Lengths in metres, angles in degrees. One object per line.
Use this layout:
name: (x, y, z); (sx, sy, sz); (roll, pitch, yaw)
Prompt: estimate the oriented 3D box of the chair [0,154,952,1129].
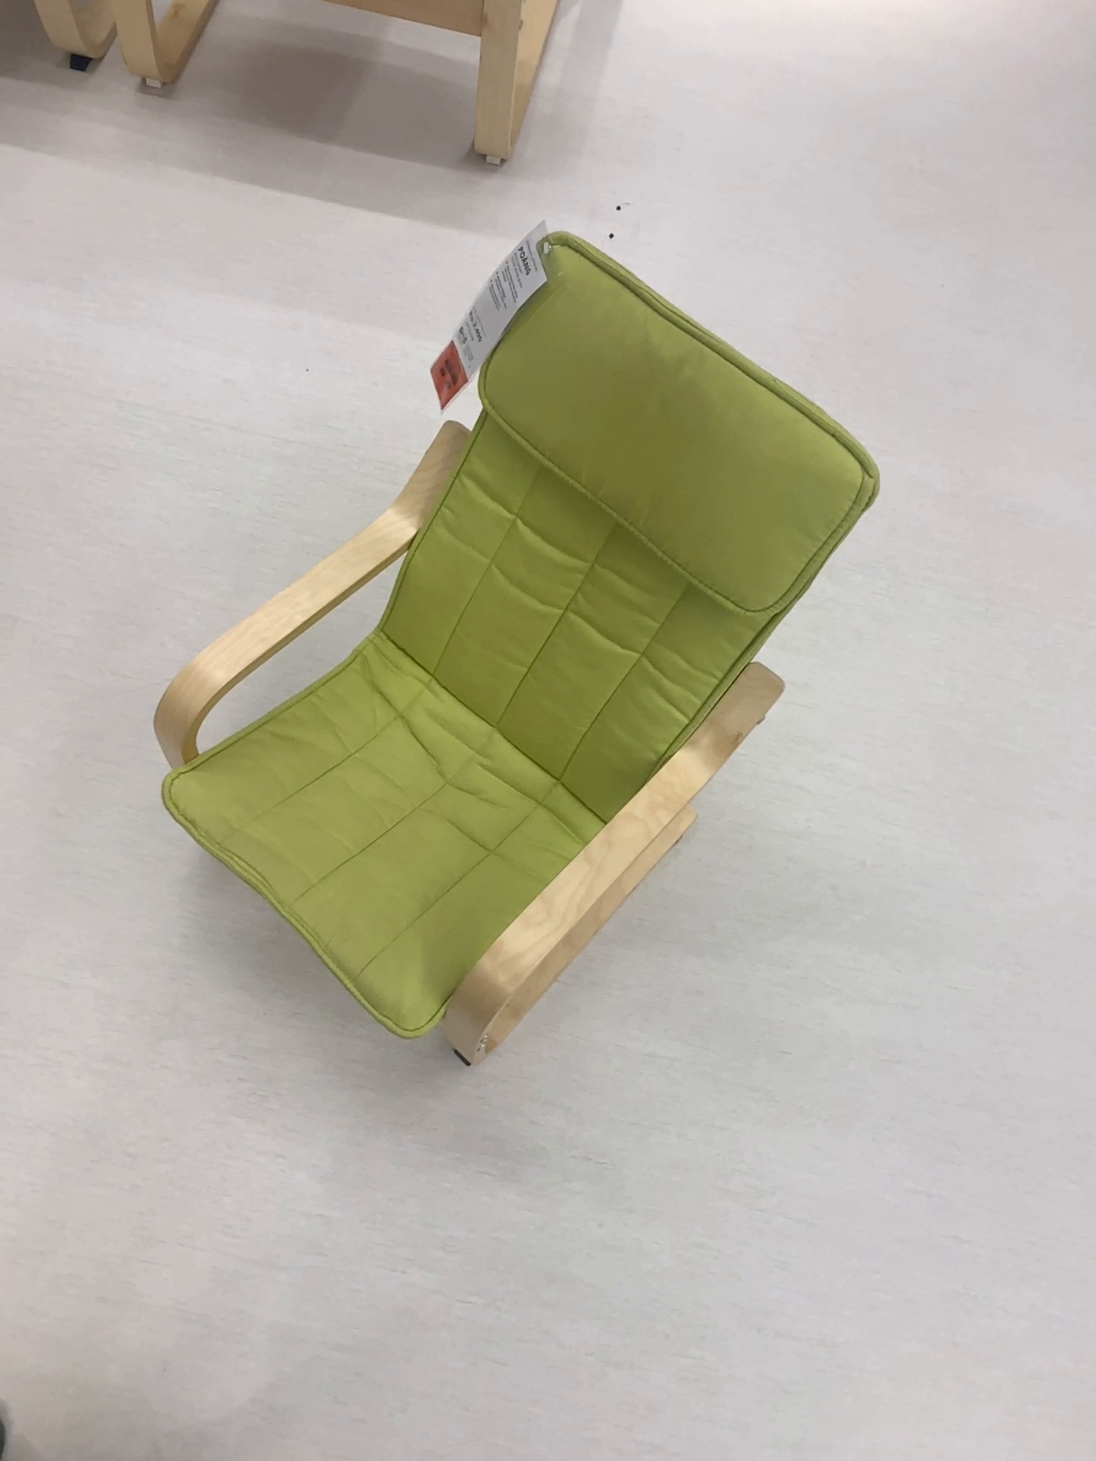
chair: (-0.090, -0.008, 1.232); (0.520, 0.819, 0.570); (39, 67, 12)
